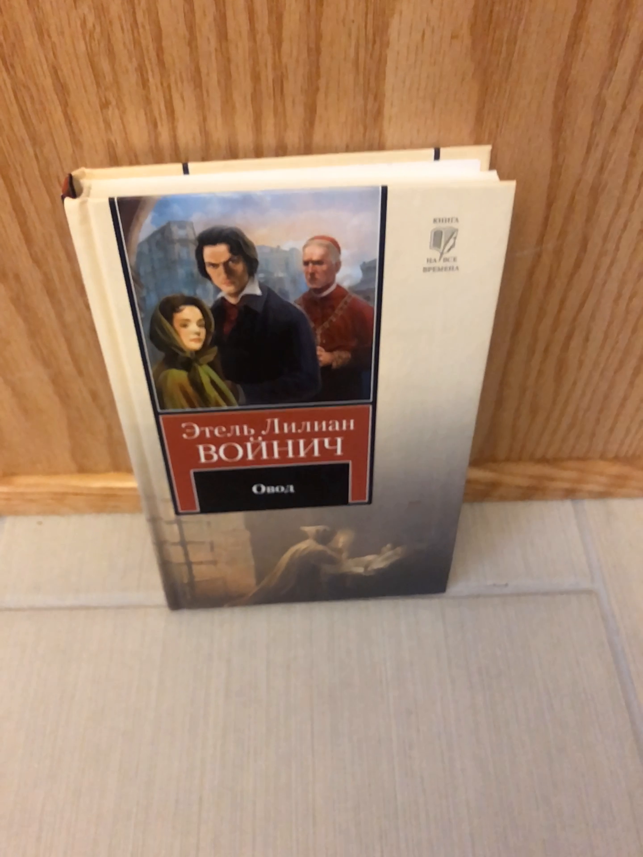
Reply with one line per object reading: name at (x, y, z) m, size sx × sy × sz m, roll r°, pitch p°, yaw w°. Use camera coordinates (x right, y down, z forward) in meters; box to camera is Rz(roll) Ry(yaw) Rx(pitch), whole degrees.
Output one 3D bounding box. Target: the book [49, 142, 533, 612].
book at (-0.007, -0.003, 0.286) m, size 0.139 × 0.202 × 0.030 m, roll -3°, pitch 41°, yaw -2°
